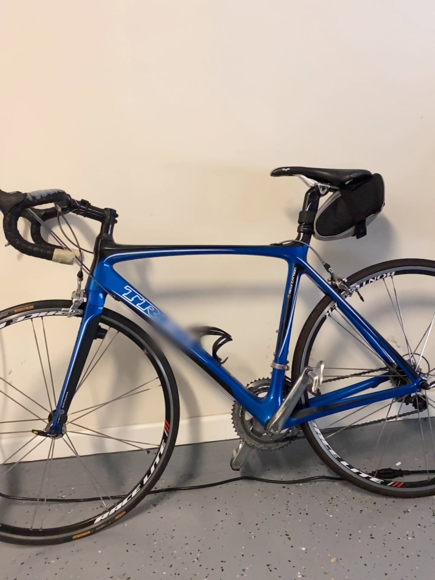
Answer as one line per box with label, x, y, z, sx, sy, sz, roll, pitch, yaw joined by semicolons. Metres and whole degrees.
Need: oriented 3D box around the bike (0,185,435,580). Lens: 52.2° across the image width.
bike;0.130;0.221;1.131;1.638;0.884;0.401;-3;7;-13
